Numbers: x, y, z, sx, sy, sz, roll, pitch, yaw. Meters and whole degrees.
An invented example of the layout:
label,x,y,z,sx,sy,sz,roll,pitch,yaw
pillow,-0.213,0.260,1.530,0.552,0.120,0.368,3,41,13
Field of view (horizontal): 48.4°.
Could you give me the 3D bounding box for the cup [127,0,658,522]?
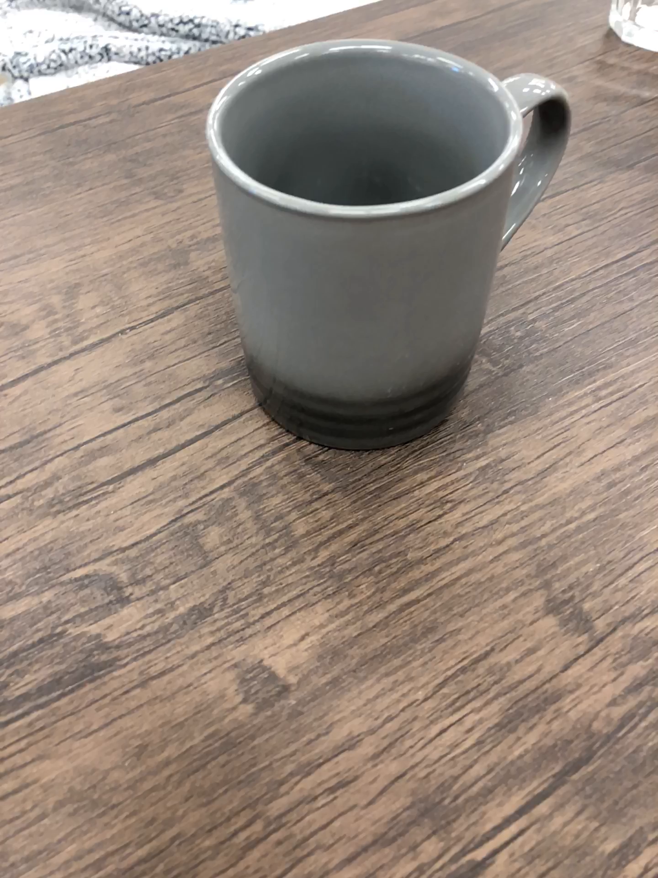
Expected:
label,x,y,z,sx,sy,sz,roll,pitch,yaw
cup,0.026,-0.068,0.241,0.130,0.110,0.090,-36,59,-24
